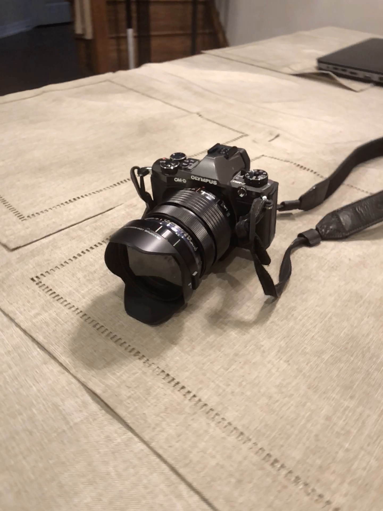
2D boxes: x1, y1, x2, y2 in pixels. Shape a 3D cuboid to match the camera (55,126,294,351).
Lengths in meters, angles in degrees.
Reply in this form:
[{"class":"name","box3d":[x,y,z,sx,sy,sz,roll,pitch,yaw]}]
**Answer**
[{"class":"camera","box3d":[-0.005,-0.029,0.362,0.124,0.092,0.165,19,39,20]}]
